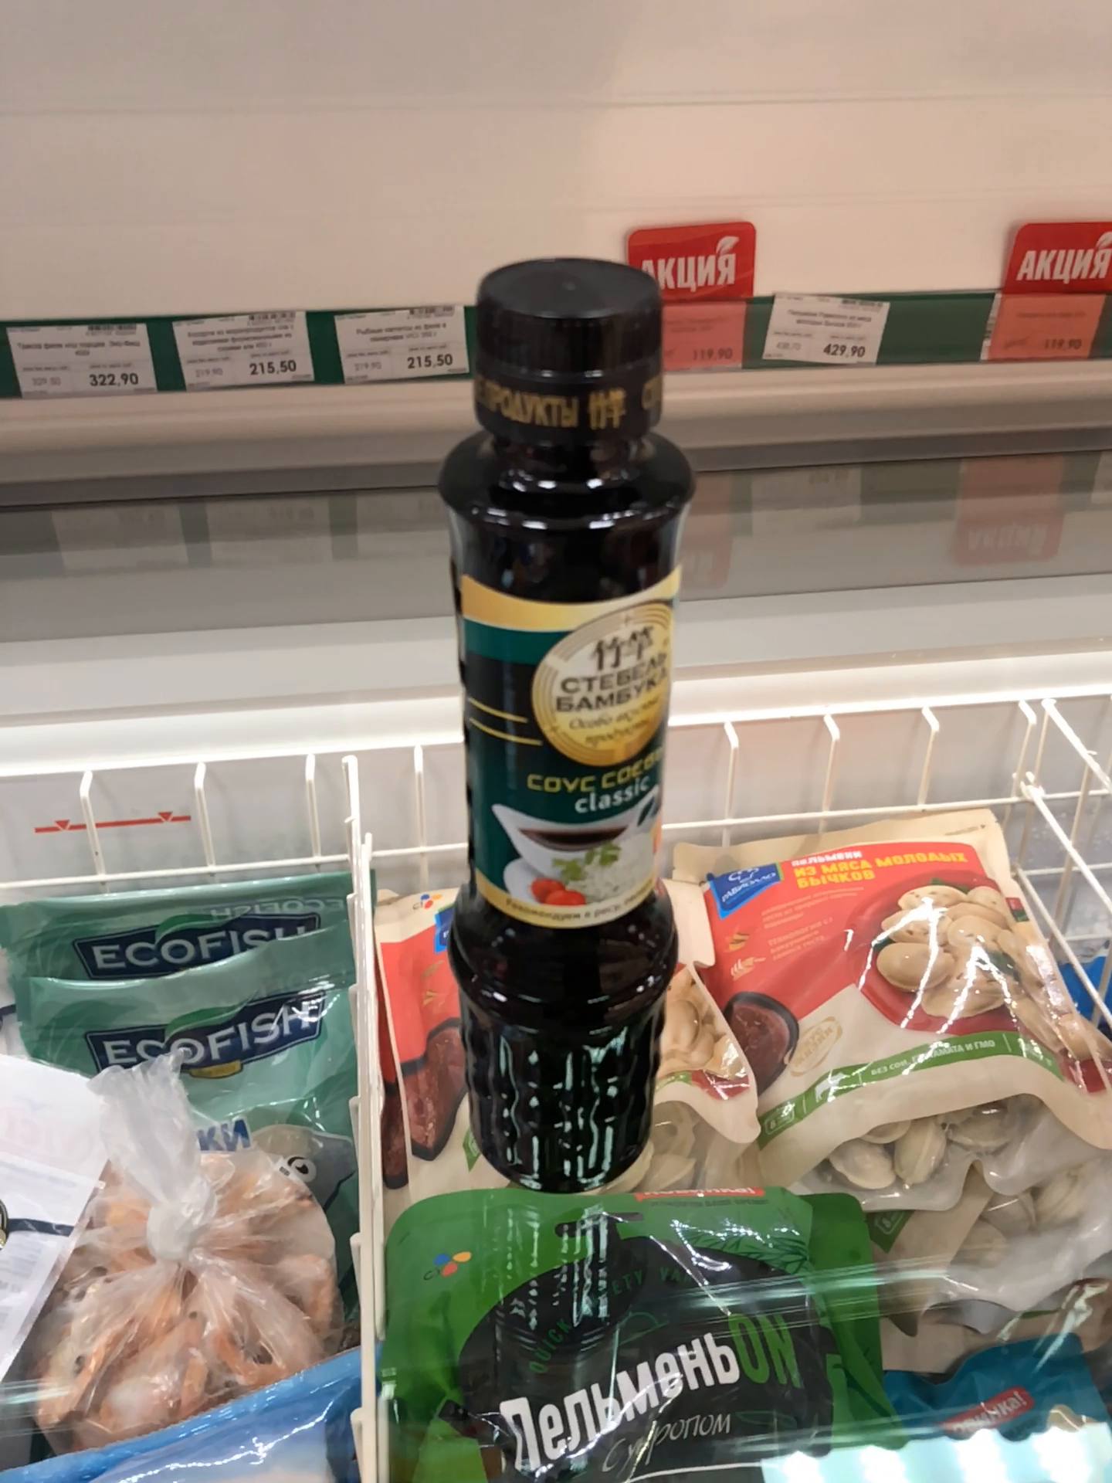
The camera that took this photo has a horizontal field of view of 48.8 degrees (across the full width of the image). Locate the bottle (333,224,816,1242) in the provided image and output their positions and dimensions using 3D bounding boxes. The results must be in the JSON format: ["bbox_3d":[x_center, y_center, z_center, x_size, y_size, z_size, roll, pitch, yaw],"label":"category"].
[{"bbox_3d":[-0.001,0.009,0.248,0.058,0.199,0.054,1,34,-1],"label":"bottle"}]
